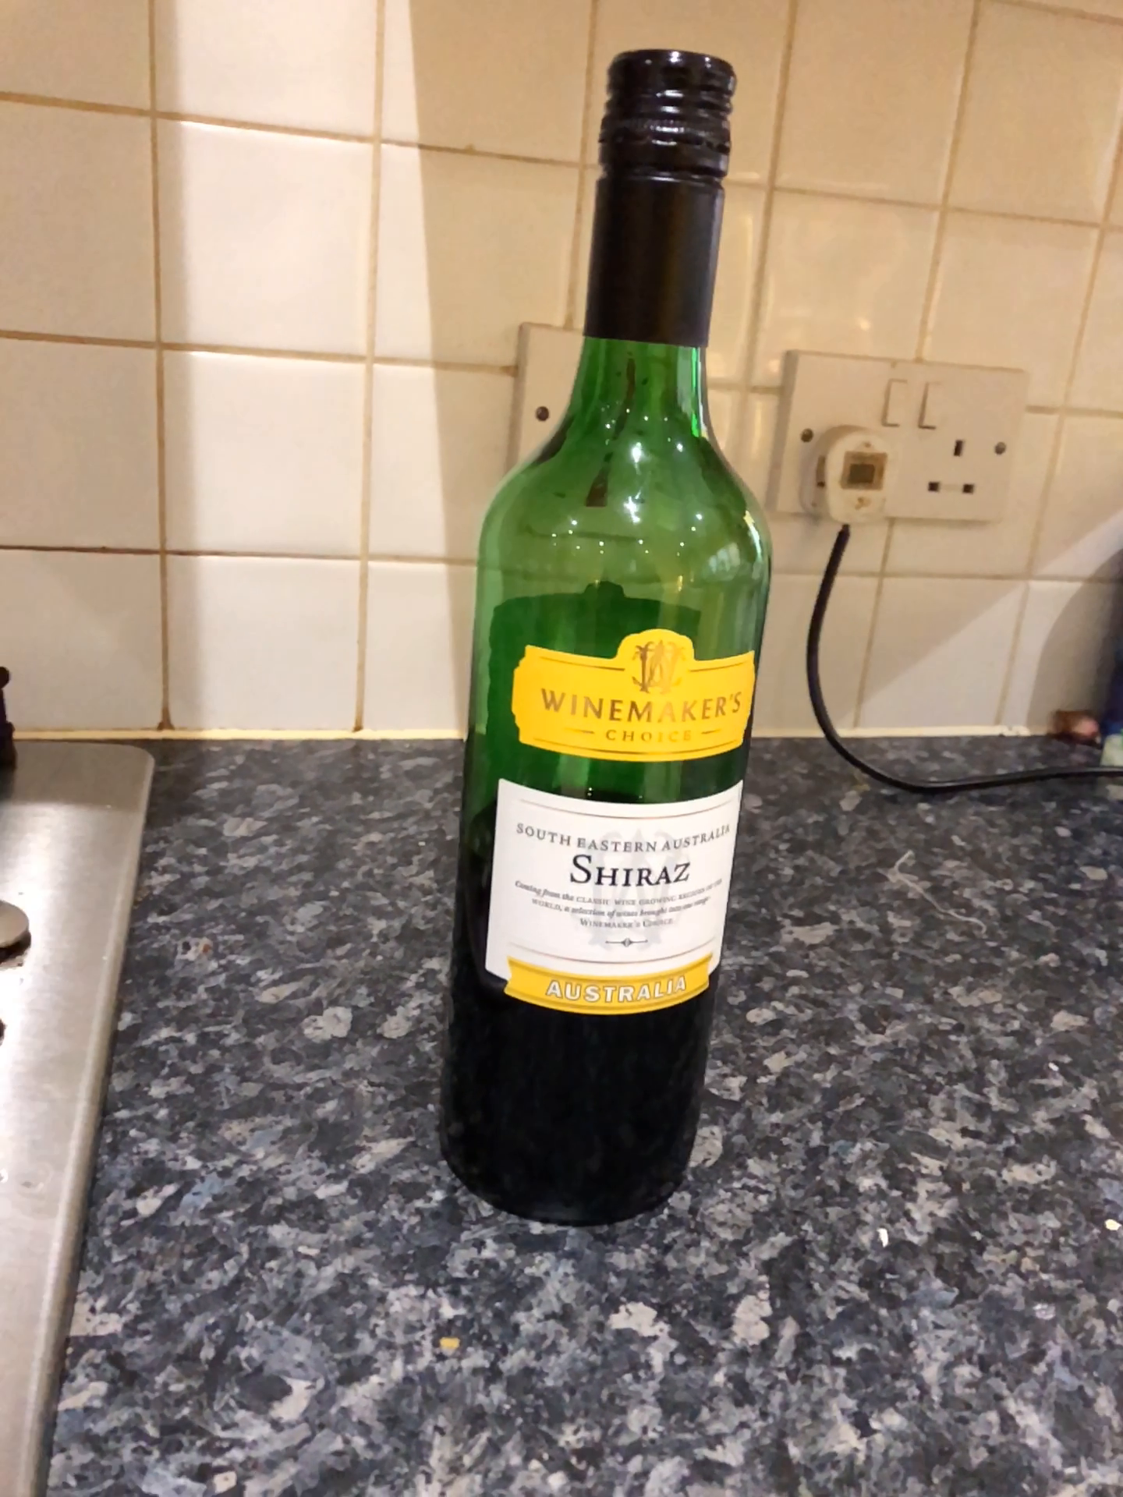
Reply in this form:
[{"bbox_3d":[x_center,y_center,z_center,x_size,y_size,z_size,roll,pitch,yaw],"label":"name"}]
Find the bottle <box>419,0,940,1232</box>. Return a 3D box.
[{"bbox_3d":[0.015,-0.023,0.316,0.080,0.278,0.080,4,19,-2],"label":"bottle"}]
